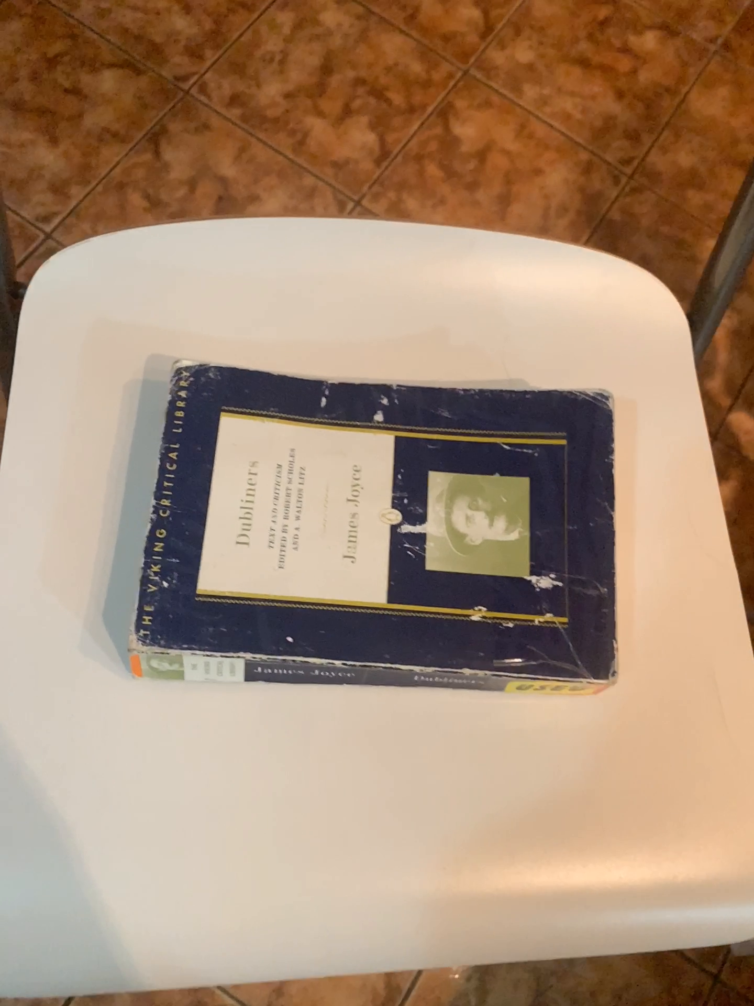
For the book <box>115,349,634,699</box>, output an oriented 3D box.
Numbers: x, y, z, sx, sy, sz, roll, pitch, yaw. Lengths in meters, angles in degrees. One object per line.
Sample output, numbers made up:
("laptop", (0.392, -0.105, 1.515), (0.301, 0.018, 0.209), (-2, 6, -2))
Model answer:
("book", (0.002, 0.011, 0.328), (0.197, 0.035, 0.132), (3, 74, -7))
